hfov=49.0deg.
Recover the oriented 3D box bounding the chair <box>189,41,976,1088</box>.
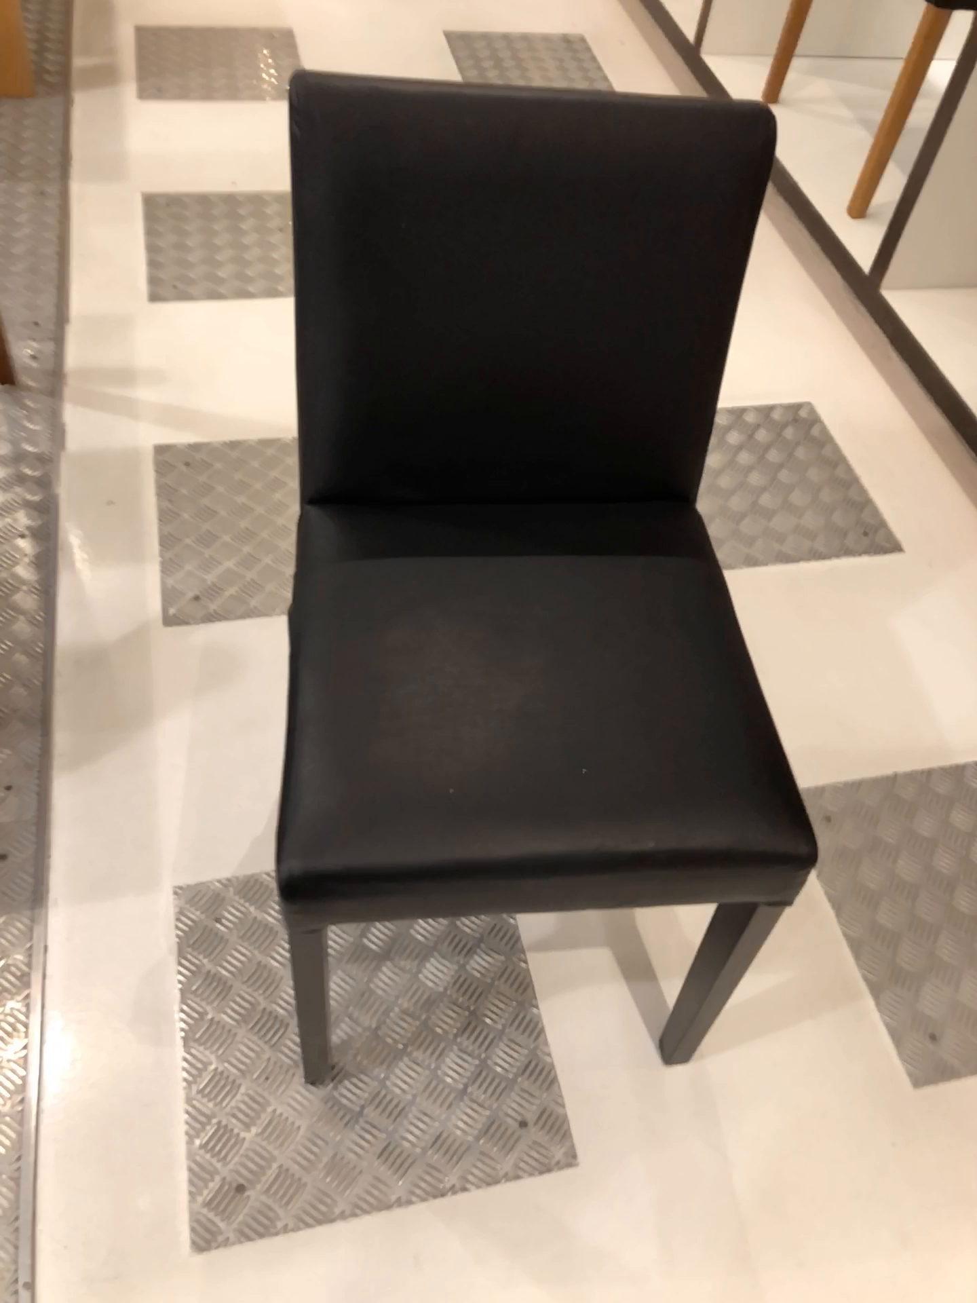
[{"bbox_3d":[0.023,-0.010,1.028,0.470,0.824,0.554,0,51,-8],"label":"chair"}]
